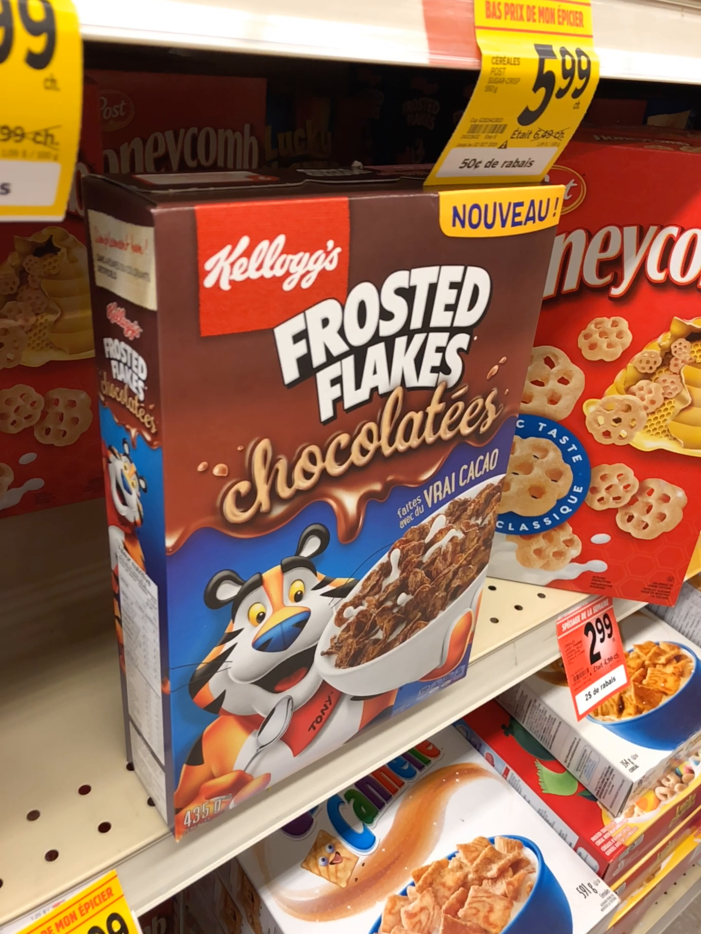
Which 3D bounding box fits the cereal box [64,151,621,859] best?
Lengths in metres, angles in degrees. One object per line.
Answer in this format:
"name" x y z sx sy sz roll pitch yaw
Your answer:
"cereal box" -0.001 0.009 0.356 0.211 0.278 0.070 -16 35 -35
